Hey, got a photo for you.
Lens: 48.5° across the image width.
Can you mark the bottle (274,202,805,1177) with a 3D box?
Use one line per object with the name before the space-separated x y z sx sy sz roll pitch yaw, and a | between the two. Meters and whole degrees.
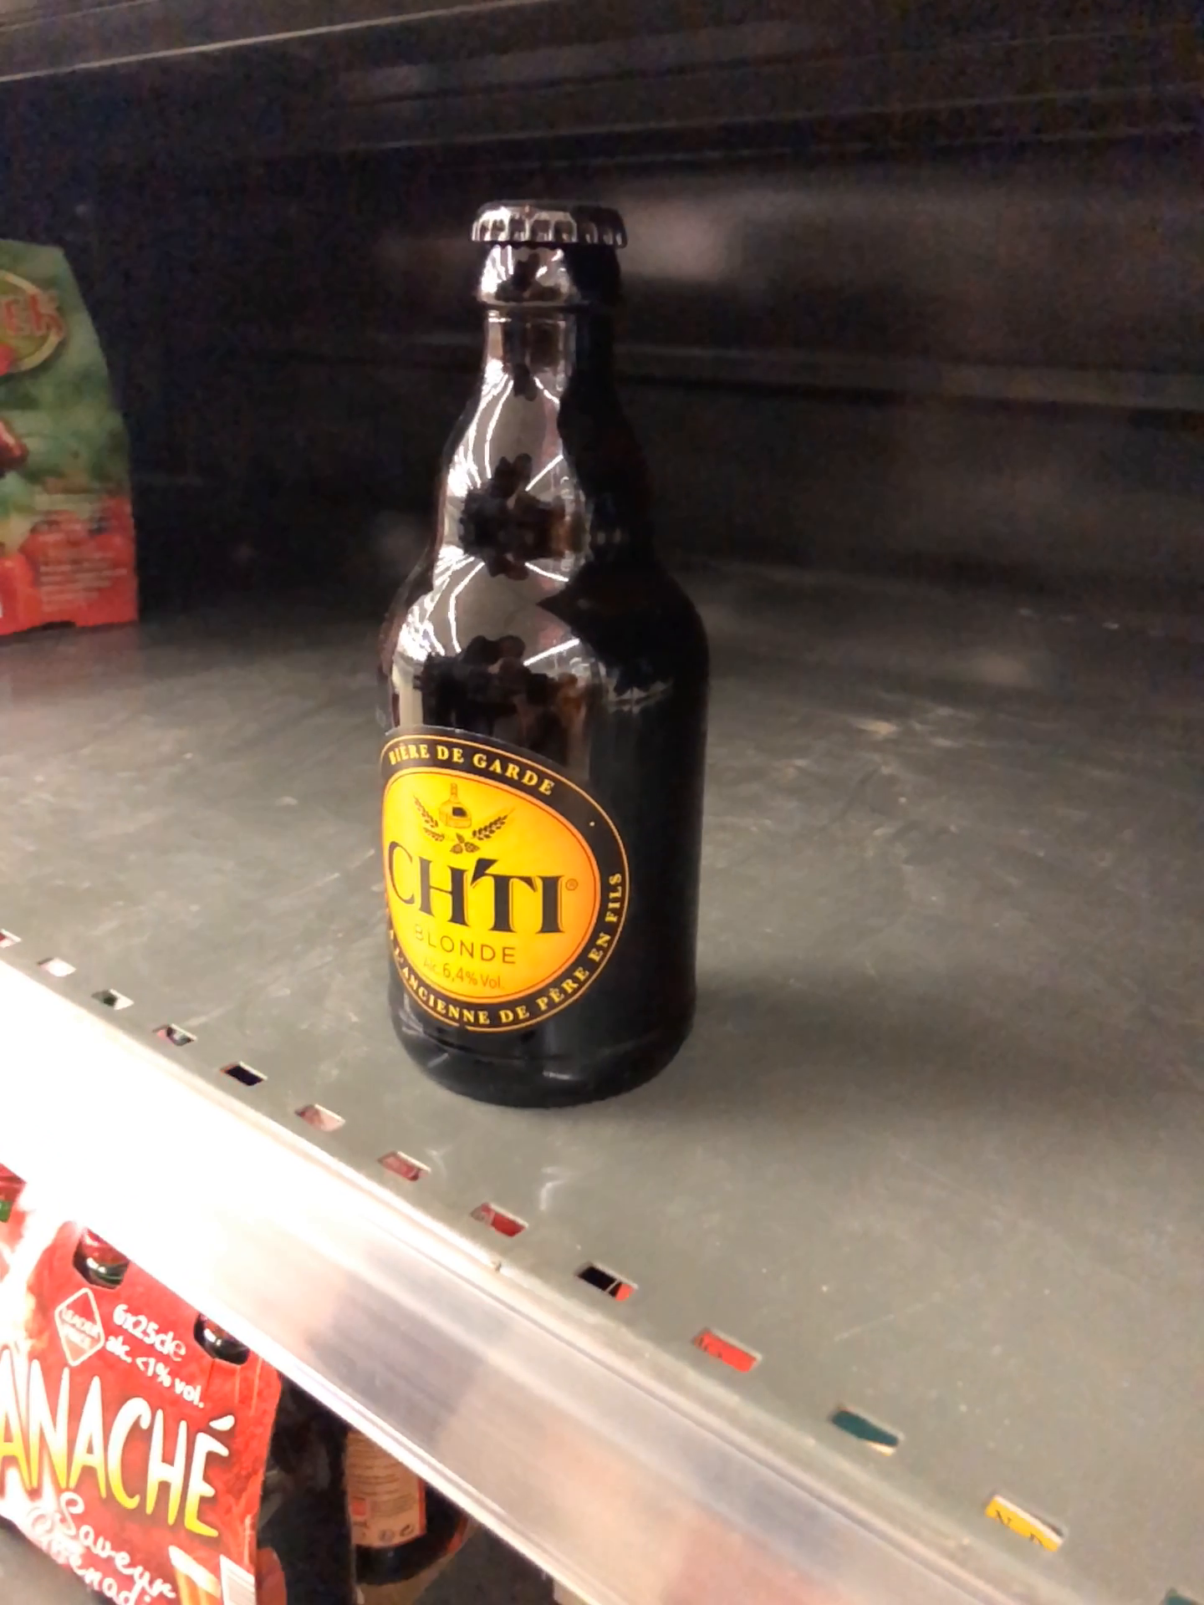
bottle | -0.010 -0.025 0.271 0.070 0.169 0.070 1 19 0
